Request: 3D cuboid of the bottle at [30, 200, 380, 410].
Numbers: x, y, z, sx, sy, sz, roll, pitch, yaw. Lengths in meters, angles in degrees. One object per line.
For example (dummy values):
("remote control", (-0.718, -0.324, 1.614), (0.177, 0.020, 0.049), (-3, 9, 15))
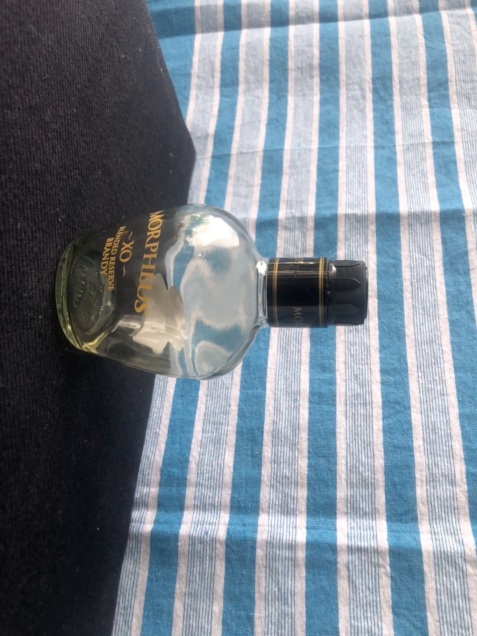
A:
("bottle", (-0.008, -0.003, 0.224), (0.050, 0.129, 0.070), (60, 32, -67))
